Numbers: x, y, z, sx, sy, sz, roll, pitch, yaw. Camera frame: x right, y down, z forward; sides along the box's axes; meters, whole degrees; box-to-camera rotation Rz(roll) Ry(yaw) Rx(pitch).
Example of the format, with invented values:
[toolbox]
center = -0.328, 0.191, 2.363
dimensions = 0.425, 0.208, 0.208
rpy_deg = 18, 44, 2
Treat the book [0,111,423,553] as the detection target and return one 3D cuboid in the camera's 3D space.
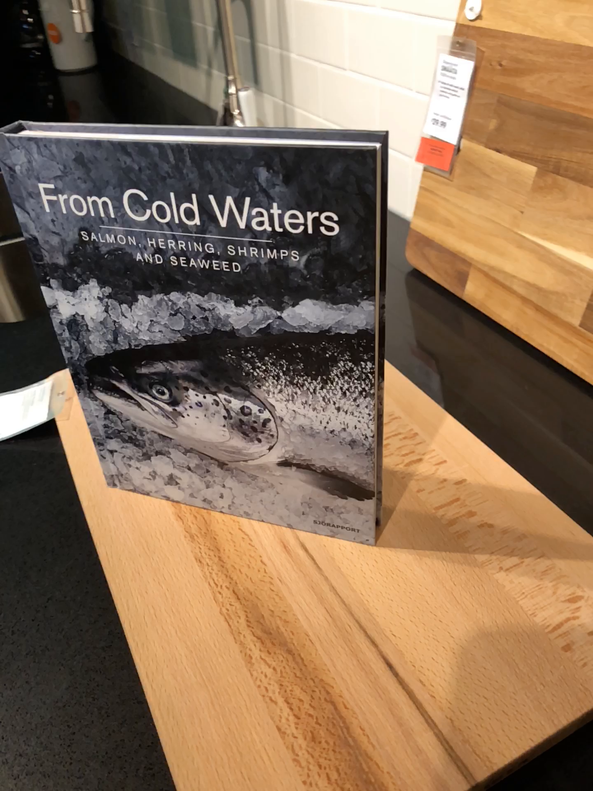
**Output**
[book]
center = -0.048, -0.026, 0.343
dimensions = 0.213, 0.219, 0.029
rpy_deg = 9, 38, 18
